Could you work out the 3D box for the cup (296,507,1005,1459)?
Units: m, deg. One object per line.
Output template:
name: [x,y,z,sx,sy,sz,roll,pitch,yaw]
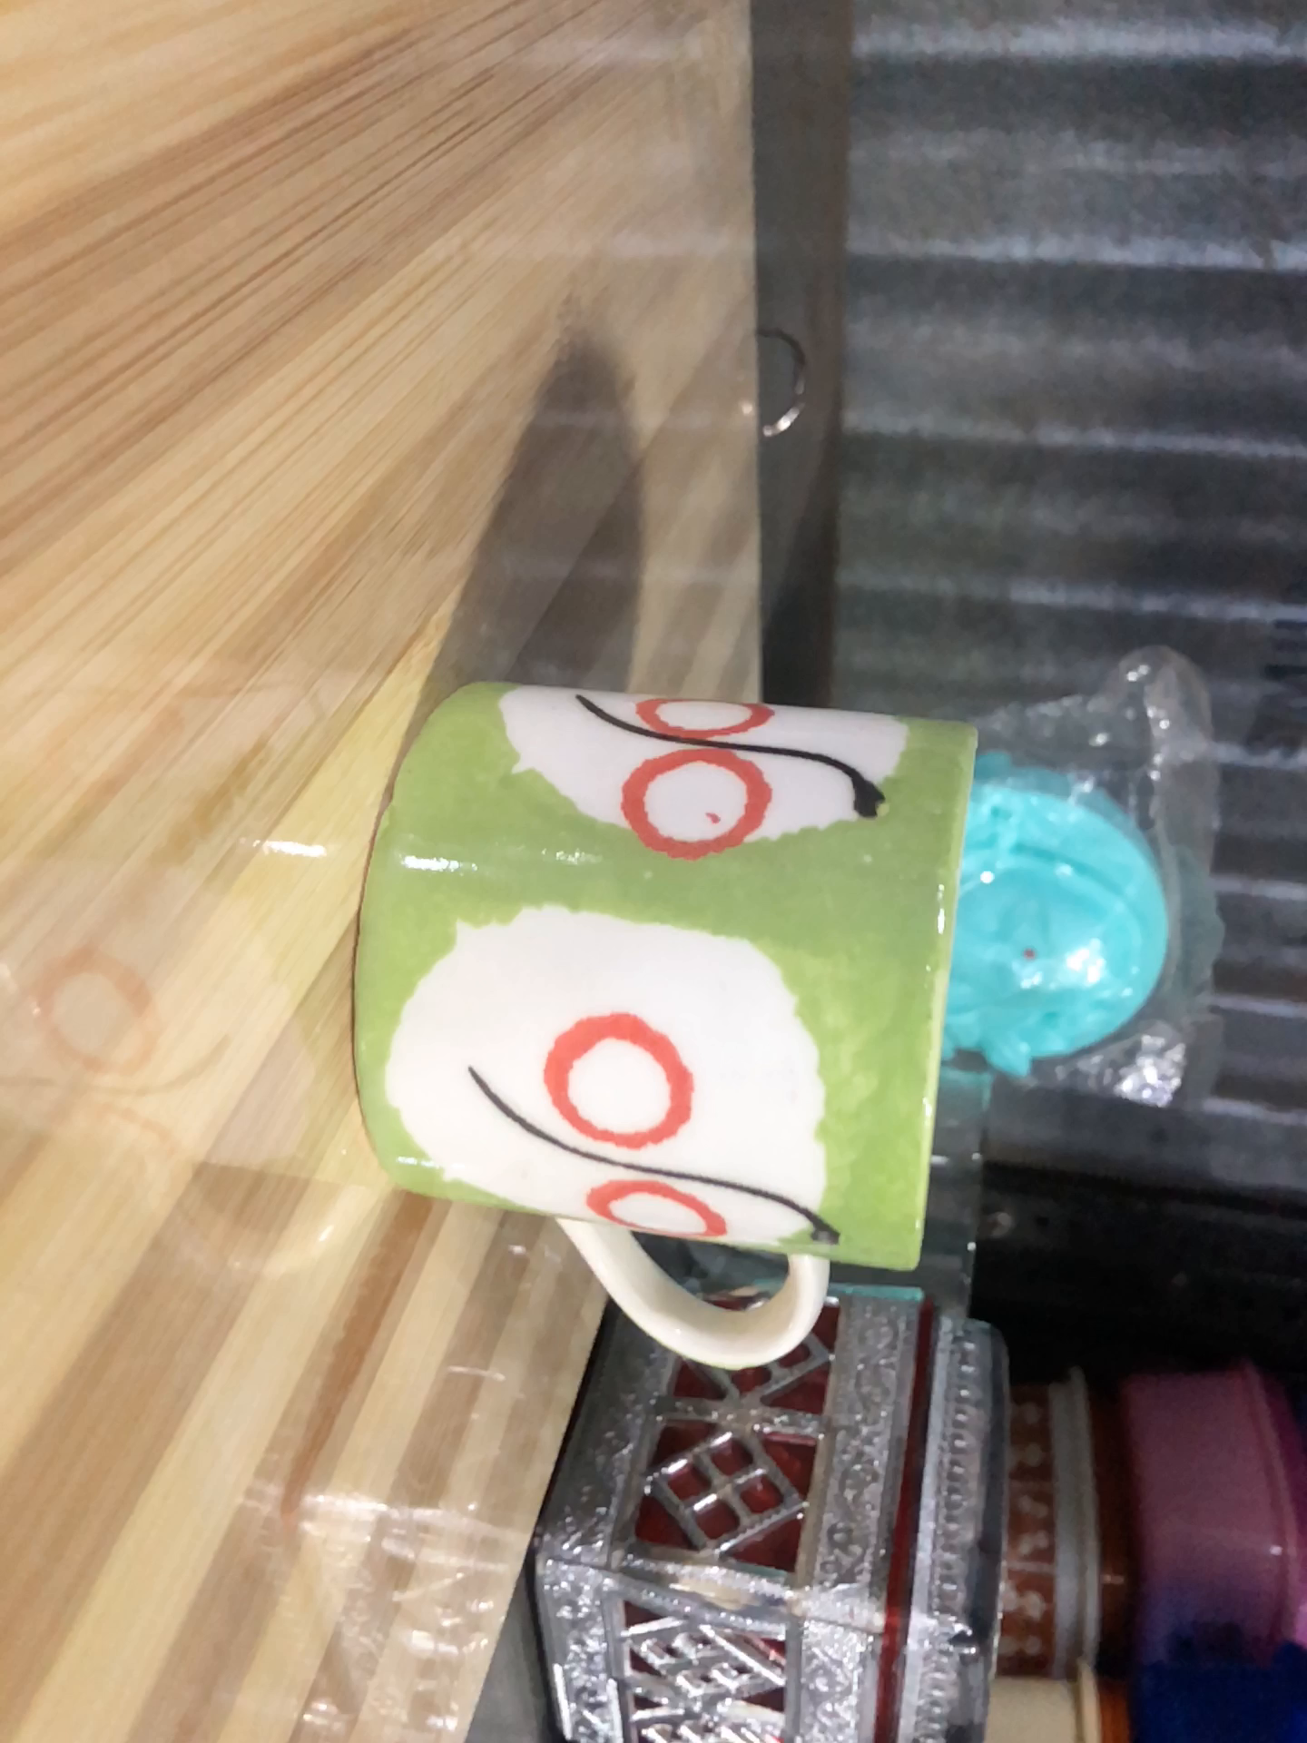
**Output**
cup: [0.006,0.012,0.200,0.070,0.070,0.100,-67,159,-57]
